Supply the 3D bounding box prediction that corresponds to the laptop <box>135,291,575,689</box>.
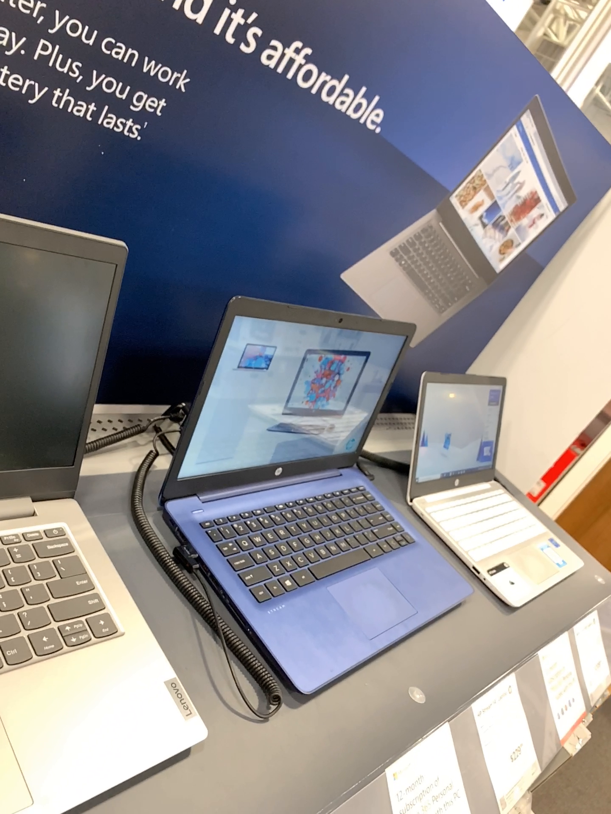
[{"bbox_3d":[0.061,0.060,0.643,0.252,0.208,0.323,45,26,27],"label":"laptop"}]
